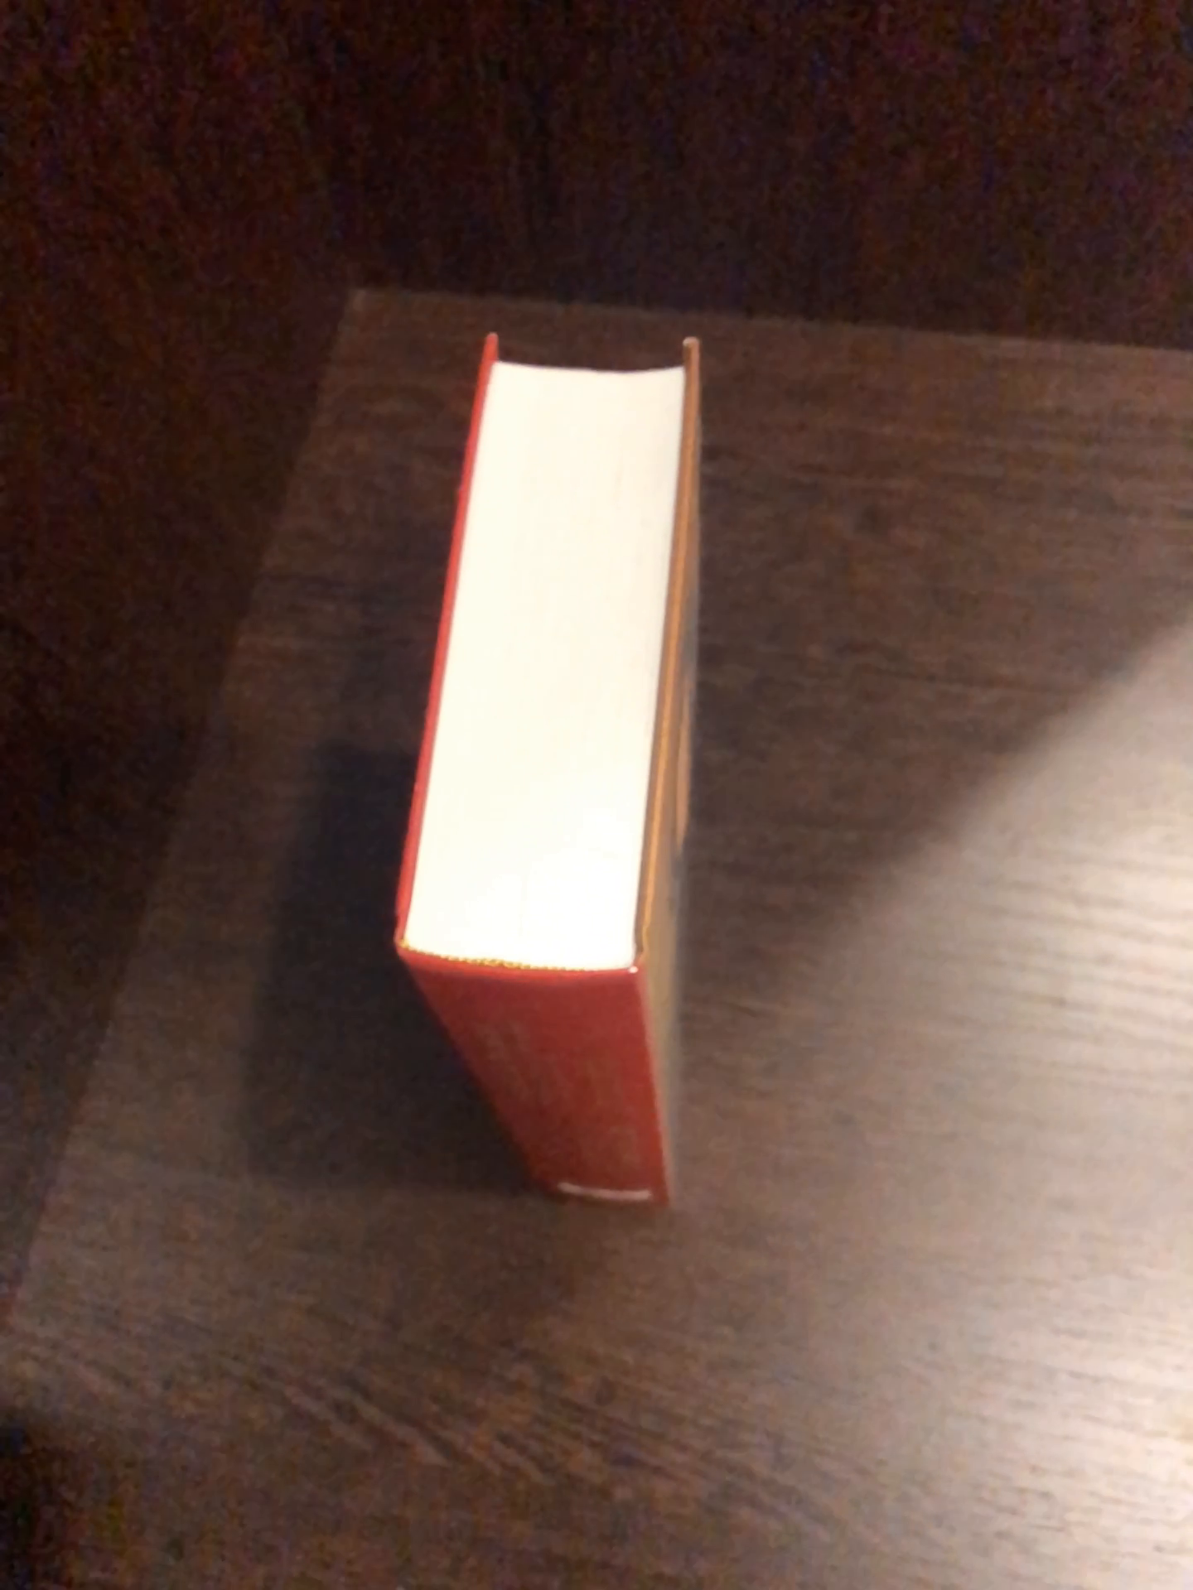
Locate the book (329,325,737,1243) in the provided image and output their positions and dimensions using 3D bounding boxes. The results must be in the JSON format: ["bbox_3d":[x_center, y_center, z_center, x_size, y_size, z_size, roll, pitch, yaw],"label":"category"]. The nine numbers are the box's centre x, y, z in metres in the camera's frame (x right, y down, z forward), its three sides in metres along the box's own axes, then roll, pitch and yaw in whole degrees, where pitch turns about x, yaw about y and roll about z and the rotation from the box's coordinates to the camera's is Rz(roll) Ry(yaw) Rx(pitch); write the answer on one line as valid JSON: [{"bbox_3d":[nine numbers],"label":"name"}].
[{"bbox_3d":[-0.004,0.017,0.316,0.054,0.201,0.137,4,64,3],"label":"book"}]
